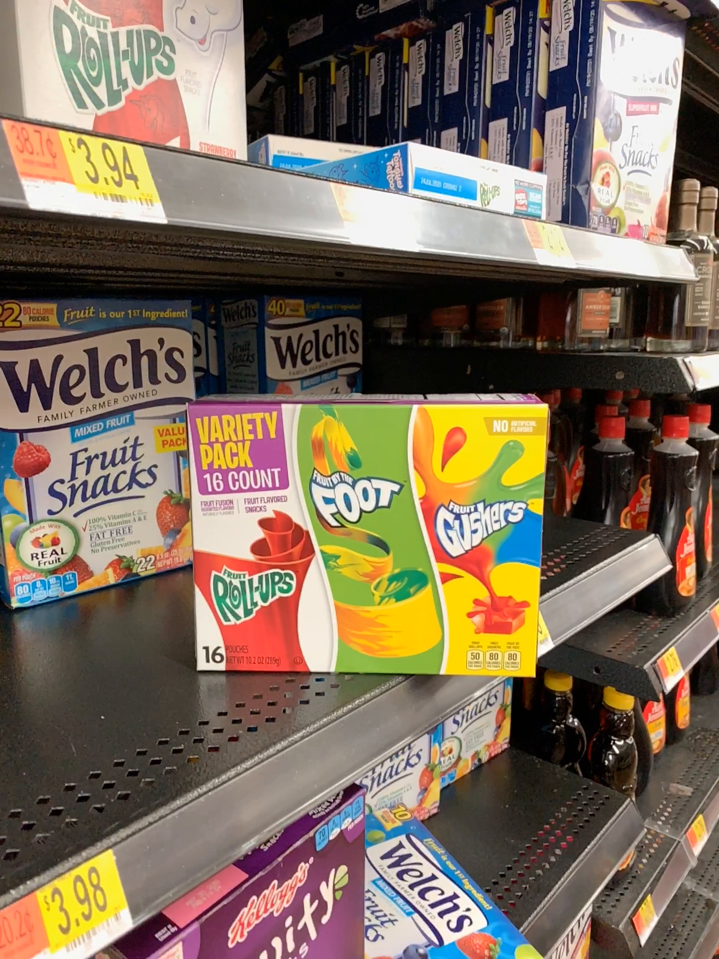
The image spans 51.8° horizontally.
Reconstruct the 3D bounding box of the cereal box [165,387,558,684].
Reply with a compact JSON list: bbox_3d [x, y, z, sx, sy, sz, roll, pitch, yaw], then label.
[{"bbox_3d":[0.001,0.031,0.461,0.220,0.170,0.060,1,12,2],"label":"cereal box"}]
